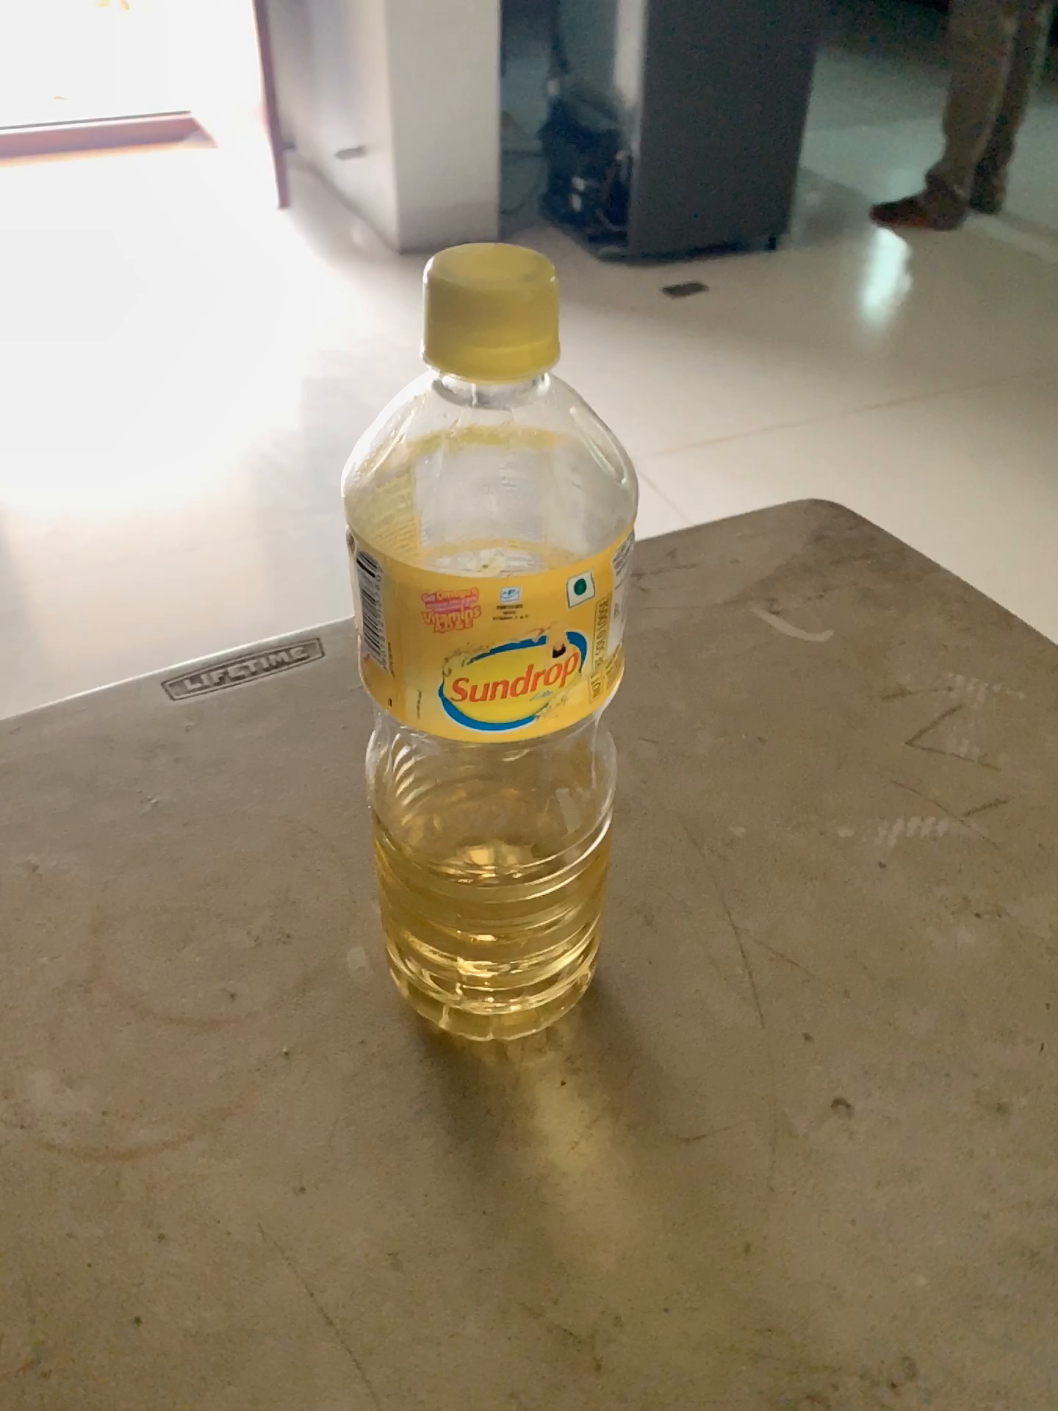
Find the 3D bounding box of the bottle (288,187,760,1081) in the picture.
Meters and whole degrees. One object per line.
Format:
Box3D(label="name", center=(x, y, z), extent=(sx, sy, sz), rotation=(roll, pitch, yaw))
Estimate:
Box3D(label="bottle", center=(-0.010, -0.003, 0.341), extent=(0.090, 0.269, 0.090), rotation=(1, 41, -1))
